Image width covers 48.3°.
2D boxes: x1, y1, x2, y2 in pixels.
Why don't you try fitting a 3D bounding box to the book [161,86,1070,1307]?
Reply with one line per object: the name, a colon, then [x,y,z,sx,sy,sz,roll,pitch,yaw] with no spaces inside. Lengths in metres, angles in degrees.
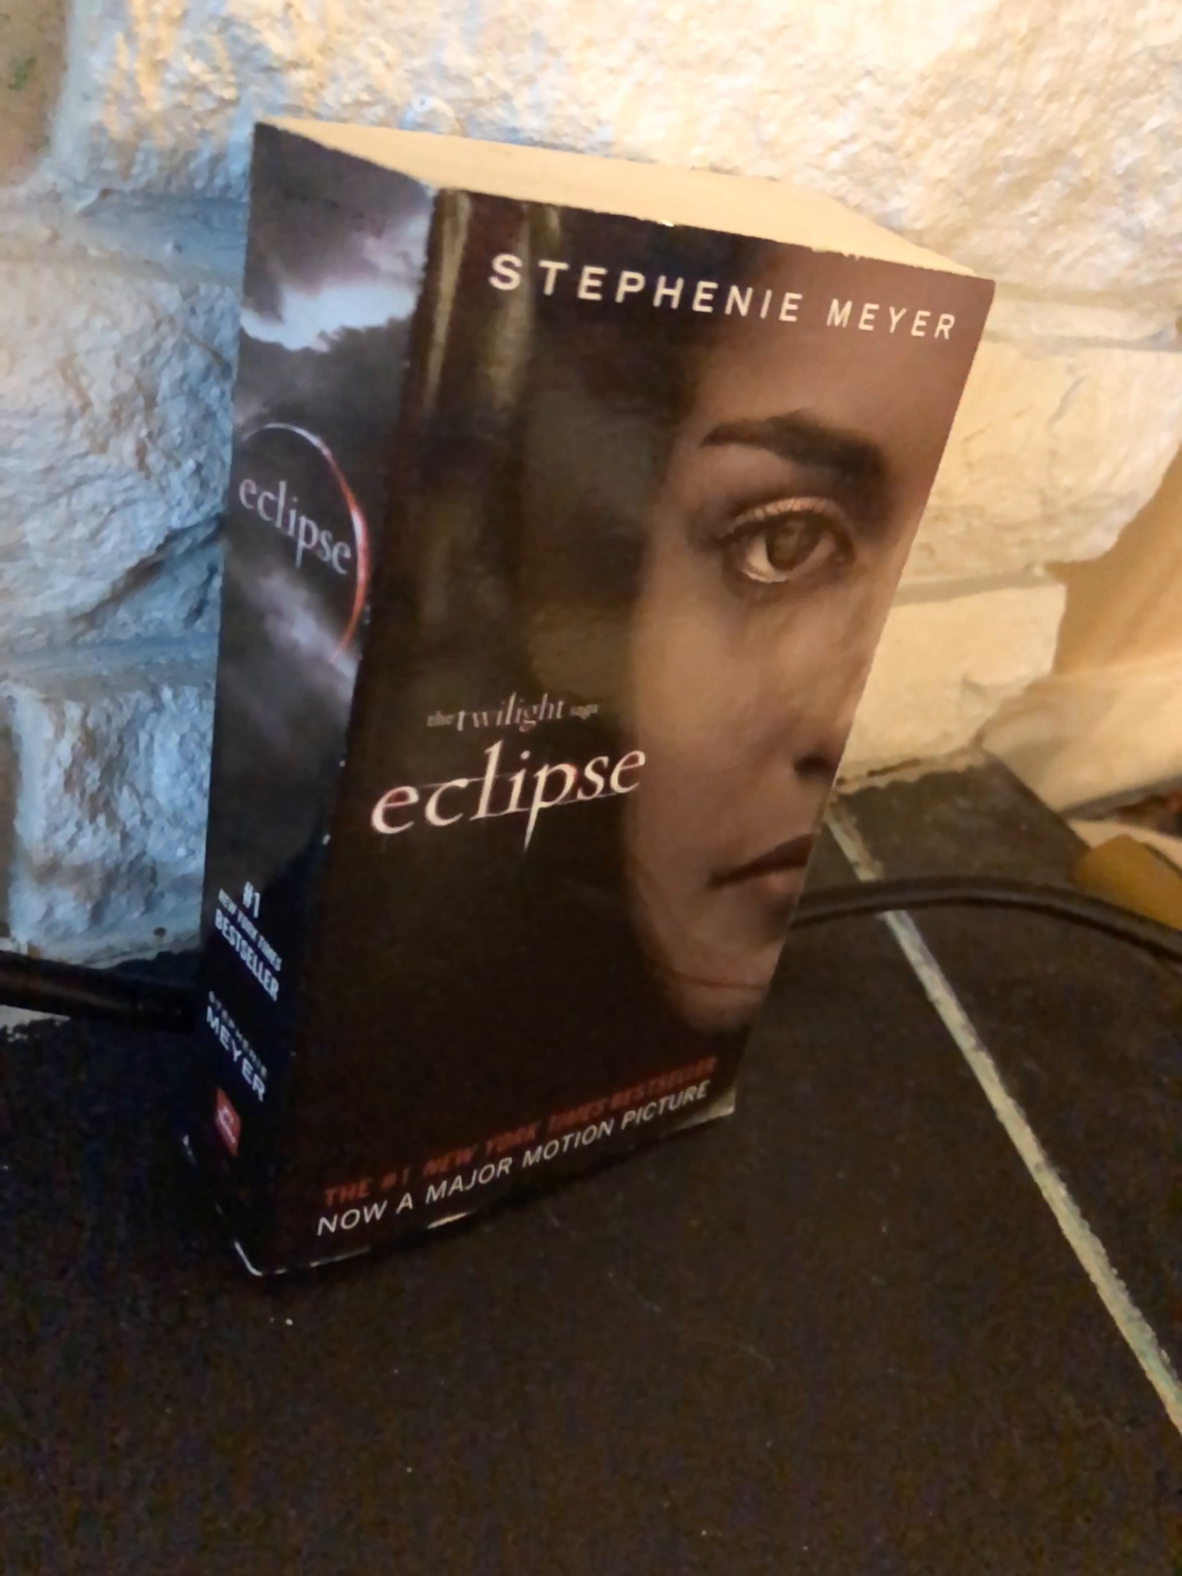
book: [-0.007,-0.004,0.219,0.106,0.181,0.042,-8,38,-33]
